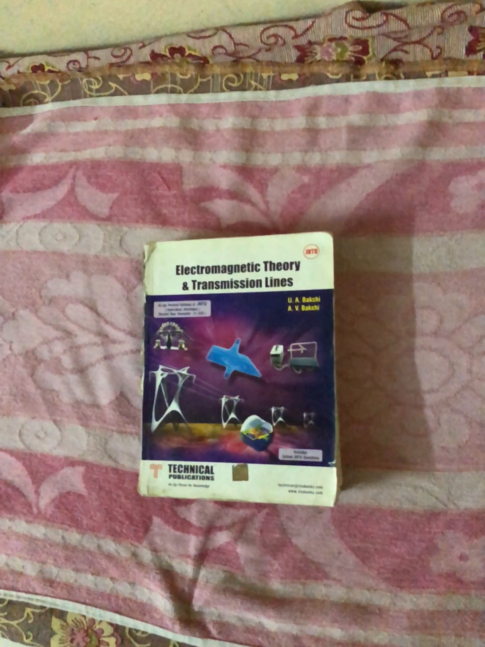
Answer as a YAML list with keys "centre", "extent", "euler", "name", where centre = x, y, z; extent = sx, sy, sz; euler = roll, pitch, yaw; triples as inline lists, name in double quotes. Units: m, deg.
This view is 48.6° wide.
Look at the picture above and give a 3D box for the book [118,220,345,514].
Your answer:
- centre: [-0.009, 0.039, 0.512]
  extent: [0.200, 0.060, 0.250]
  euler: [-2, 82, 14]
  name: "book"
